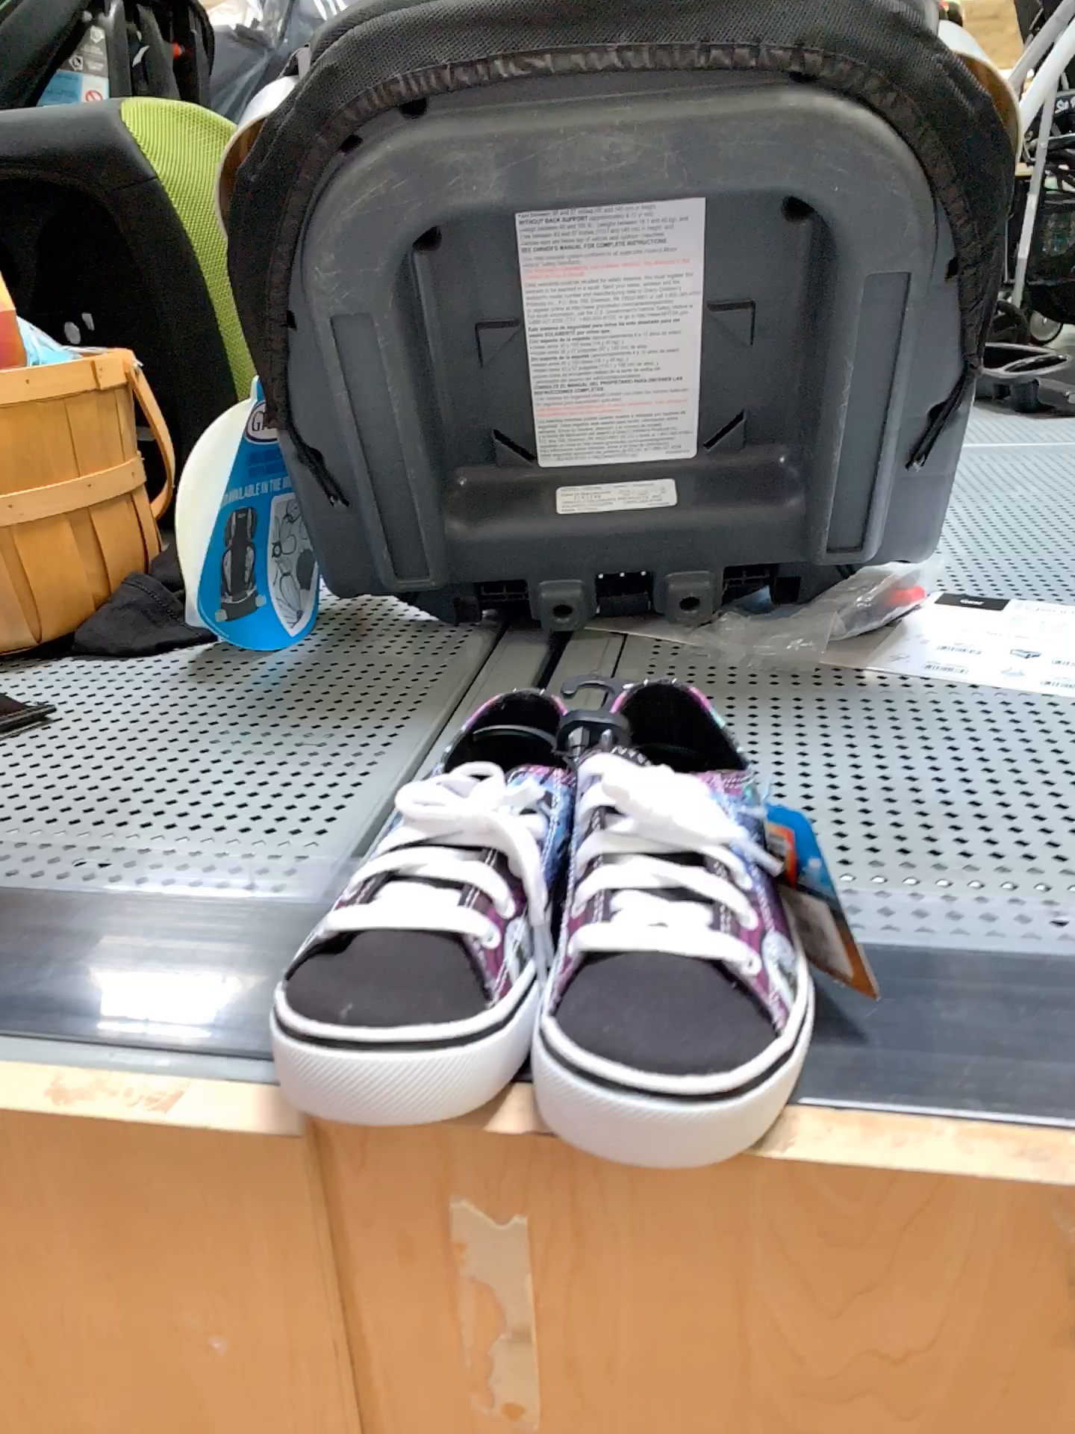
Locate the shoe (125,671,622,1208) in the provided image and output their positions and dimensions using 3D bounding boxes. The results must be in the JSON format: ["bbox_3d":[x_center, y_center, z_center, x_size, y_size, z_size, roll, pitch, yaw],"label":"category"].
[{"bbox_3d":[-0.037,0.056,0.389,0.091,0.073,0.208,4,23,16],"label":"shoe"}]

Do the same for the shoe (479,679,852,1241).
[{"bbox_3d":[0.048,0.060,0.376,0.089,0.073,0.213,1,23,9],"label":"shoe"}]
